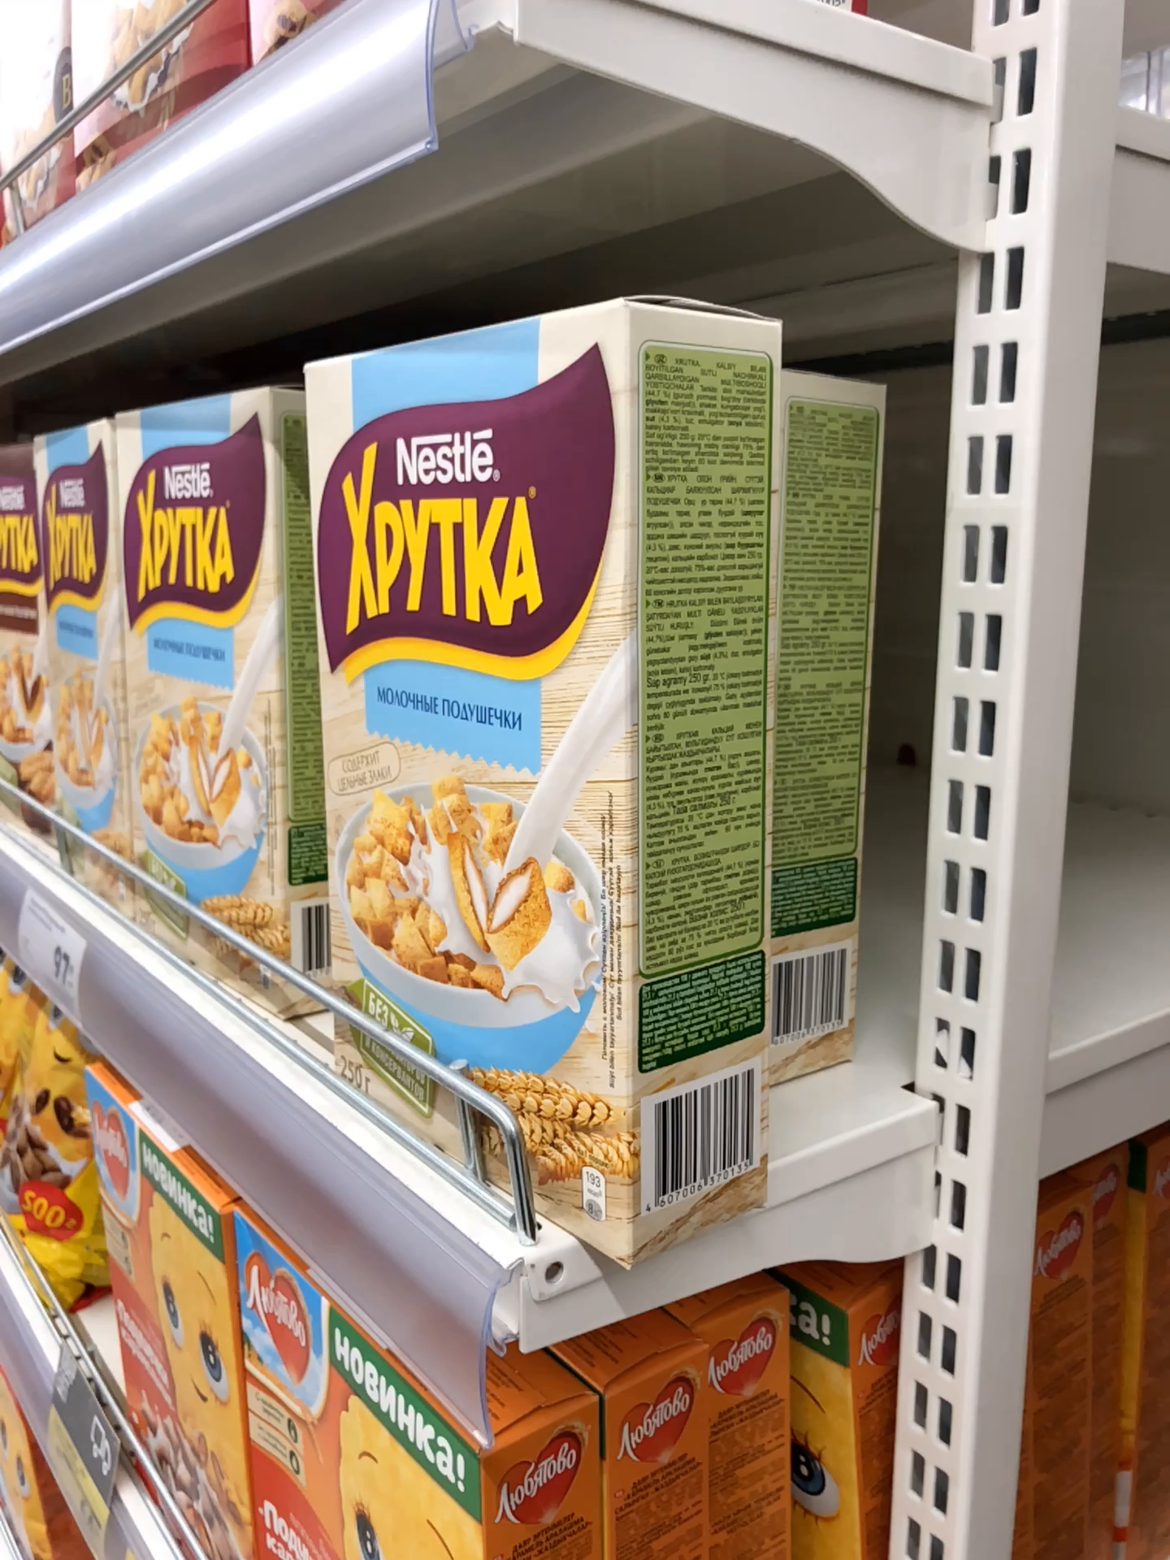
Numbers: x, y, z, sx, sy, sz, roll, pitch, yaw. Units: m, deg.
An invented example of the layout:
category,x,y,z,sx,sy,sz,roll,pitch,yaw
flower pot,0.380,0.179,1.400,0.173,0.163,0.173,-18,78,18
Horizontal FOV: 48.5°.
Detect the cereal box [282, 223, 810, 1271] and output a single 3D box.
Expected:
category,x,y,z,sx,sy,sz,roll,pitch,yaw
cereal box,-0.018,-0.013,0.342,0.050,0.219,0.150,-8,13,-38
